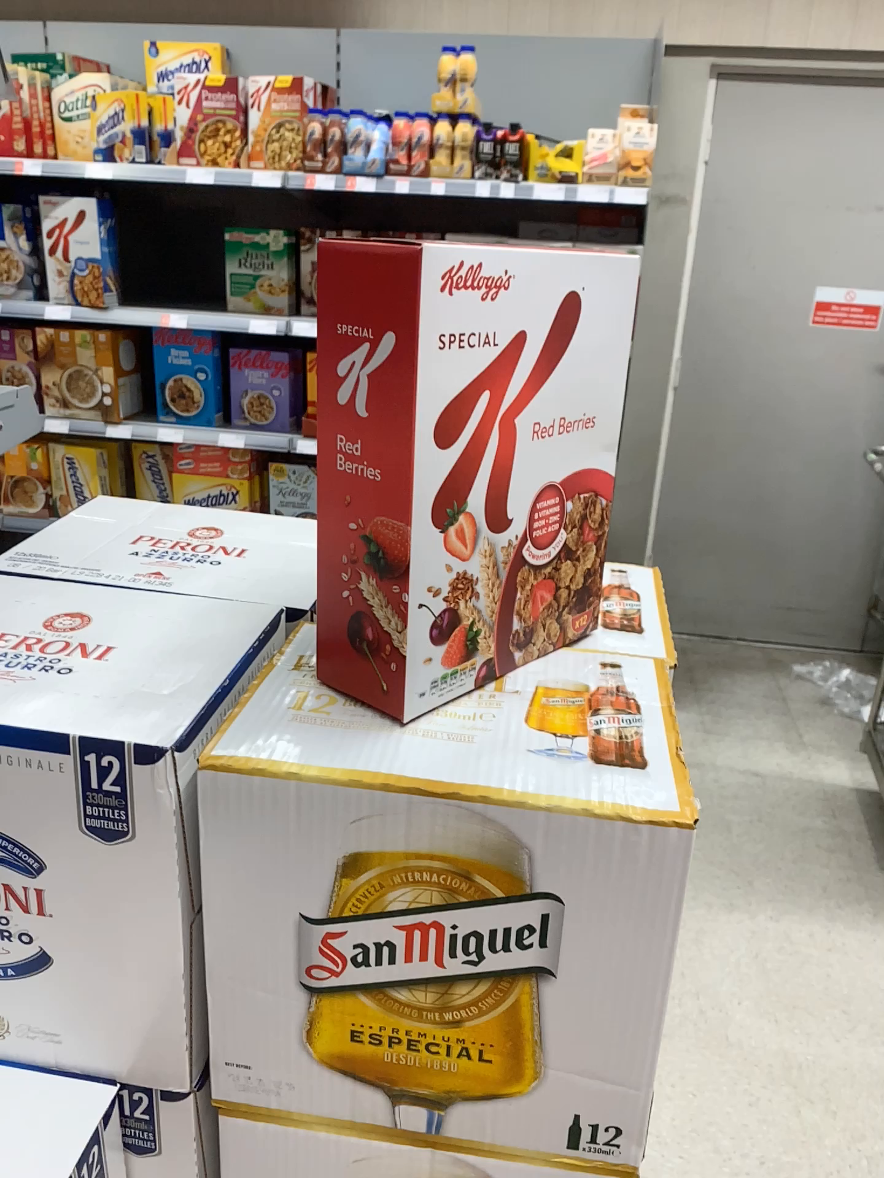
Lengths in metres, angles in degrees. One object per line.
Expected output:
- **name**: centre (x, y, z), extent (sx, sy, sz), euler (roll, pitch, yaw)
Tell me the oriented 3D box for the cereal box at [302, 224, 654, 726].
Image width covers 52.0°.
- **cereal box**: centre (0.025, -0.076, 0.516), extent (0.070, 0.238, 0.201), euler (19, 27, 40)
